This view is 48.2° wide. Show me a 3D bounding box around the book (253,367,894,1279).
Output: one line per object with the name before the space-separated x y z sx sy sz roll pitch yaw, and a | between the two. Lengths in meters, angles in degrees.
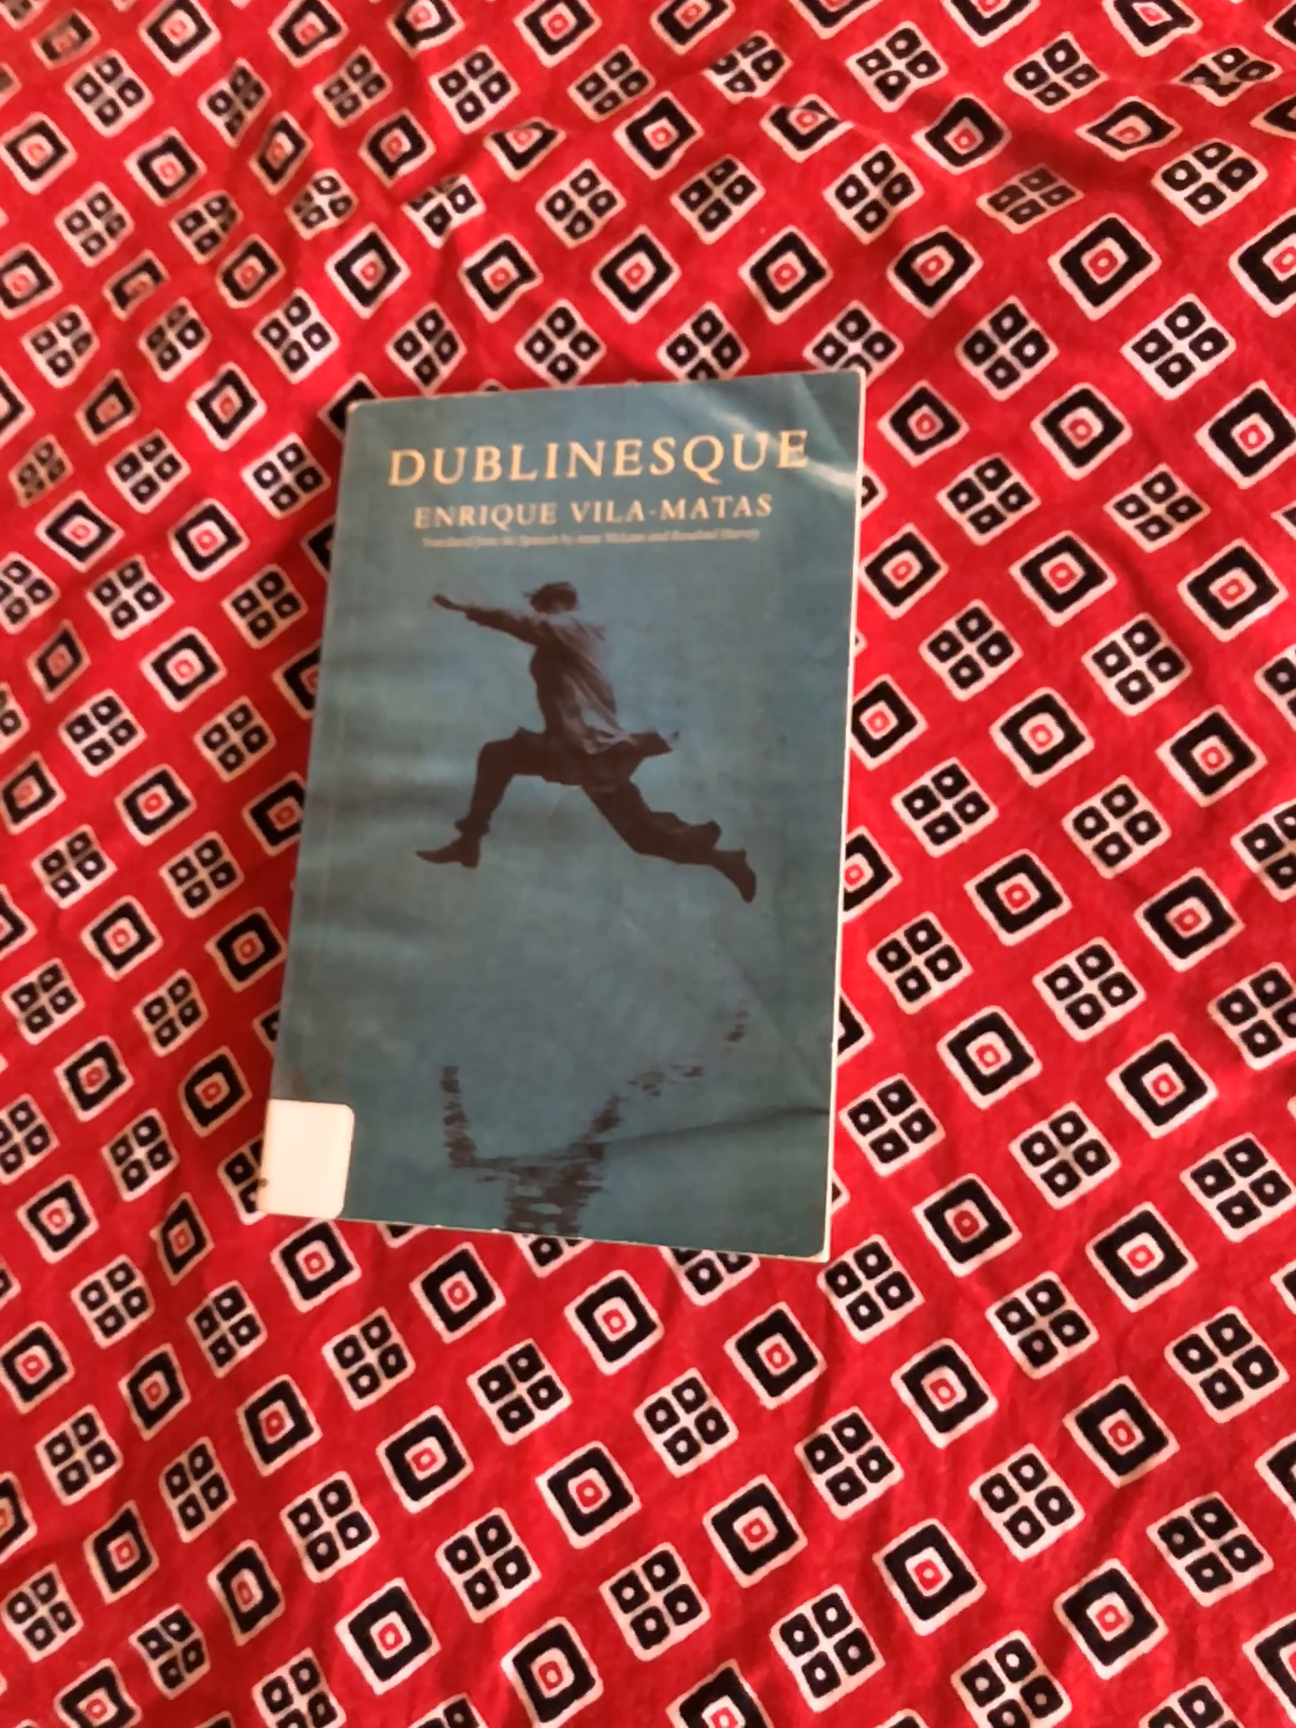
book | -0.016 -0.014 0.343 0.137 0.020 0.203 2 81 15
